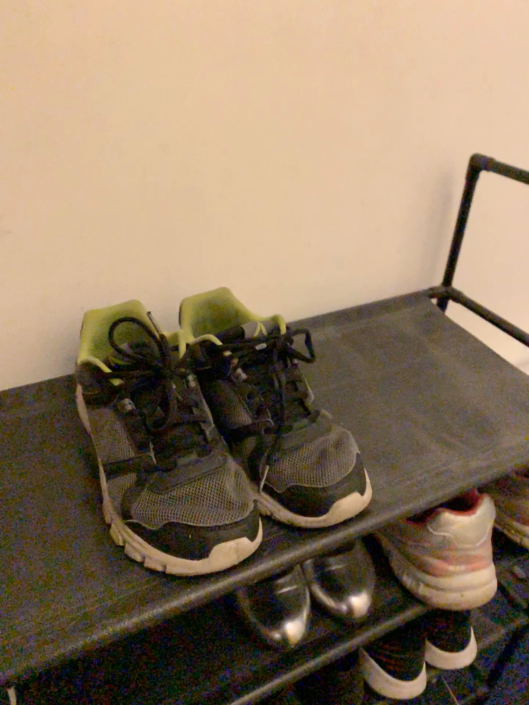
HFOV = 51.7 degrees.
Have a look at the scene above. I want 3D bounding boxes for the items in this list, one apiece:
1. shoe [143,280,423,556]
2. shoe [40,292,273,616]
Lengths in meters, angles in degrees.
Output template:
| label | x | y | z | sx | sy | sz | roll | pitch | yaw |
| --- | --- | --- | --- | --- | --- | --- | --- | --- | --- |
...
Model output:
| label | x | y | z | sx | sy | sz | roll | pitch | yaw |
| --- | --- | --- | --- | --- | --- | --- | --- | --- | --- |
| shoe | -0.004 | 0.031 | 0.466 | 0.110 | 0.069 | 0.262 | -16 | 36 | -25 |
| shoe | -0.099 | 0.056 | 0.441 | 0.100 | 0.099 | 0.252 | -15 | 36 | -24 |
